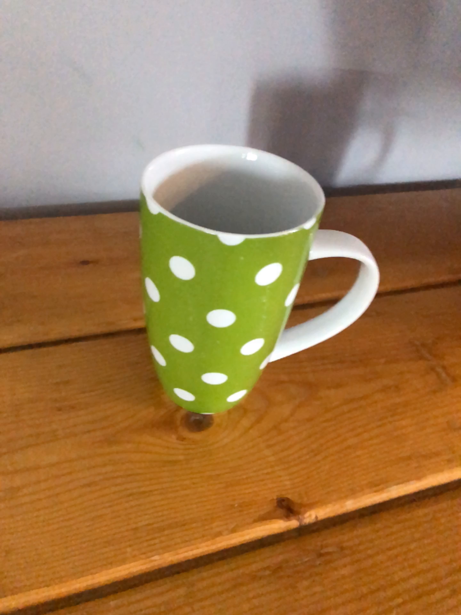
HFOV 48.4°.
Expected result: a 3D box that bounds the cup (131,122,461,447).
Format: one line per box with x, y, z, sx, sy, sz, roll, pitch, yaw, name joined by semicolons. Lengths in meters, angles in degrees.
0.021;-0.009;0.298;0.150;0.150;0.100;-2;46;-13;cup
